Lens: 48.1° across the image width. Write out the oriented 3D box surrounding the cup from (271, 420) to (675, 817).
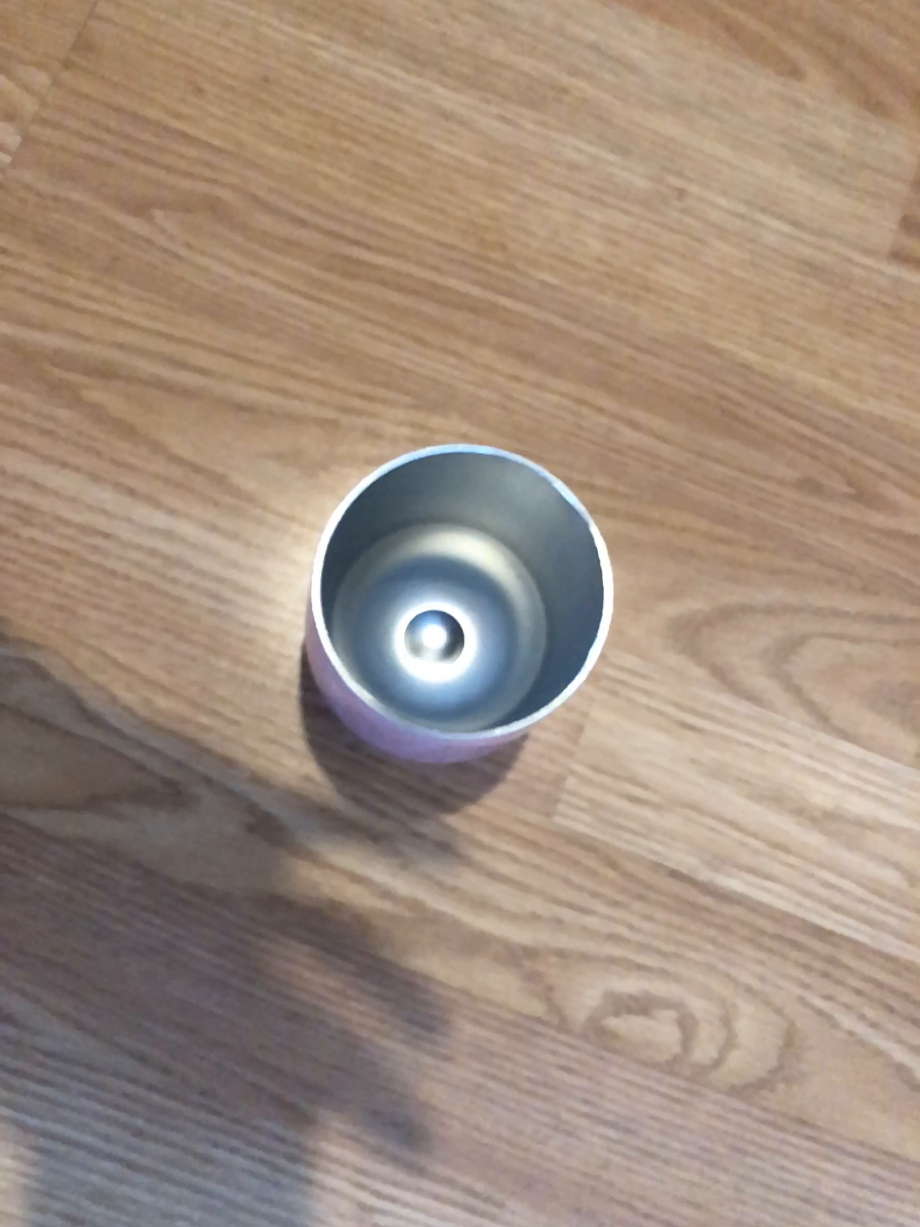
[{"bbox_3d":[-0.002,0.007,0.319,0.090,0.100,0.090,1,81,-6],"label":"cup"}]
